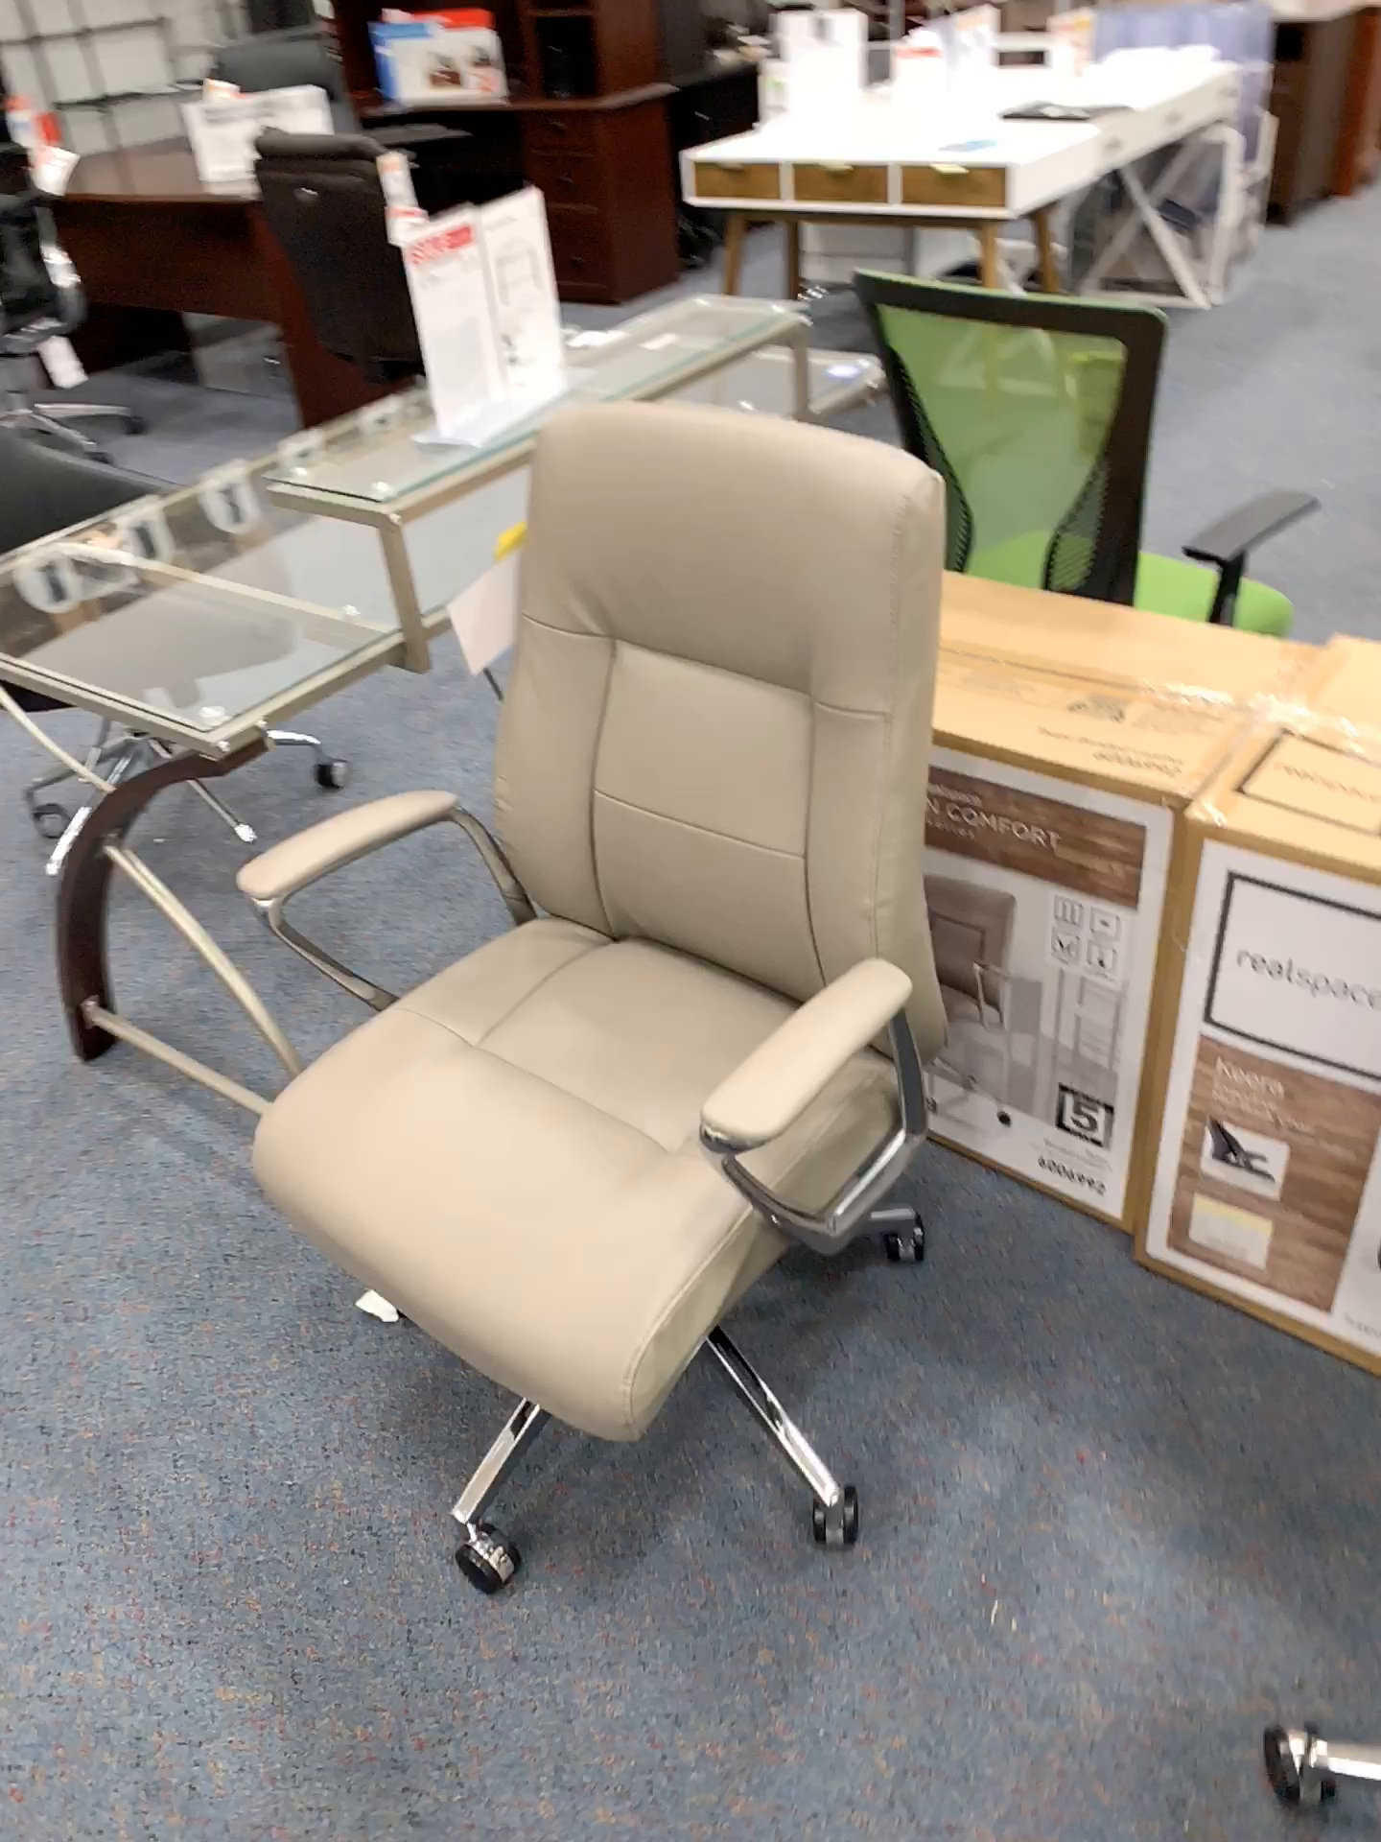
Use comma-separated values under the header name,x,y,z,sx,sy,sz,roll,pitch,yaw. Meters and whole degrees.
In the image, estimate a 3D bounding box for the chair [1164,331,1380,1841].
name,x,y,z,sx,sy,sz,roll,pitch,yaw
chair,0.804,0.350,0.805,0.811,1.055,0.818,0,36,9

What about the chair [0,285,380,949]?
name,x,y,z,sx,sy,sz,roll,pitch,yaw
chair,-1.081,-0.555,2.520,0.754,0.856,0.765,-5,36,2

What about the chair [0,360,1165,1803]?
name,x,y,z,sx,sy,sz,roll,pitch,yaw
chair,-0.083,0.093,1.326,0.693,0.956,0.676,23,45,34
